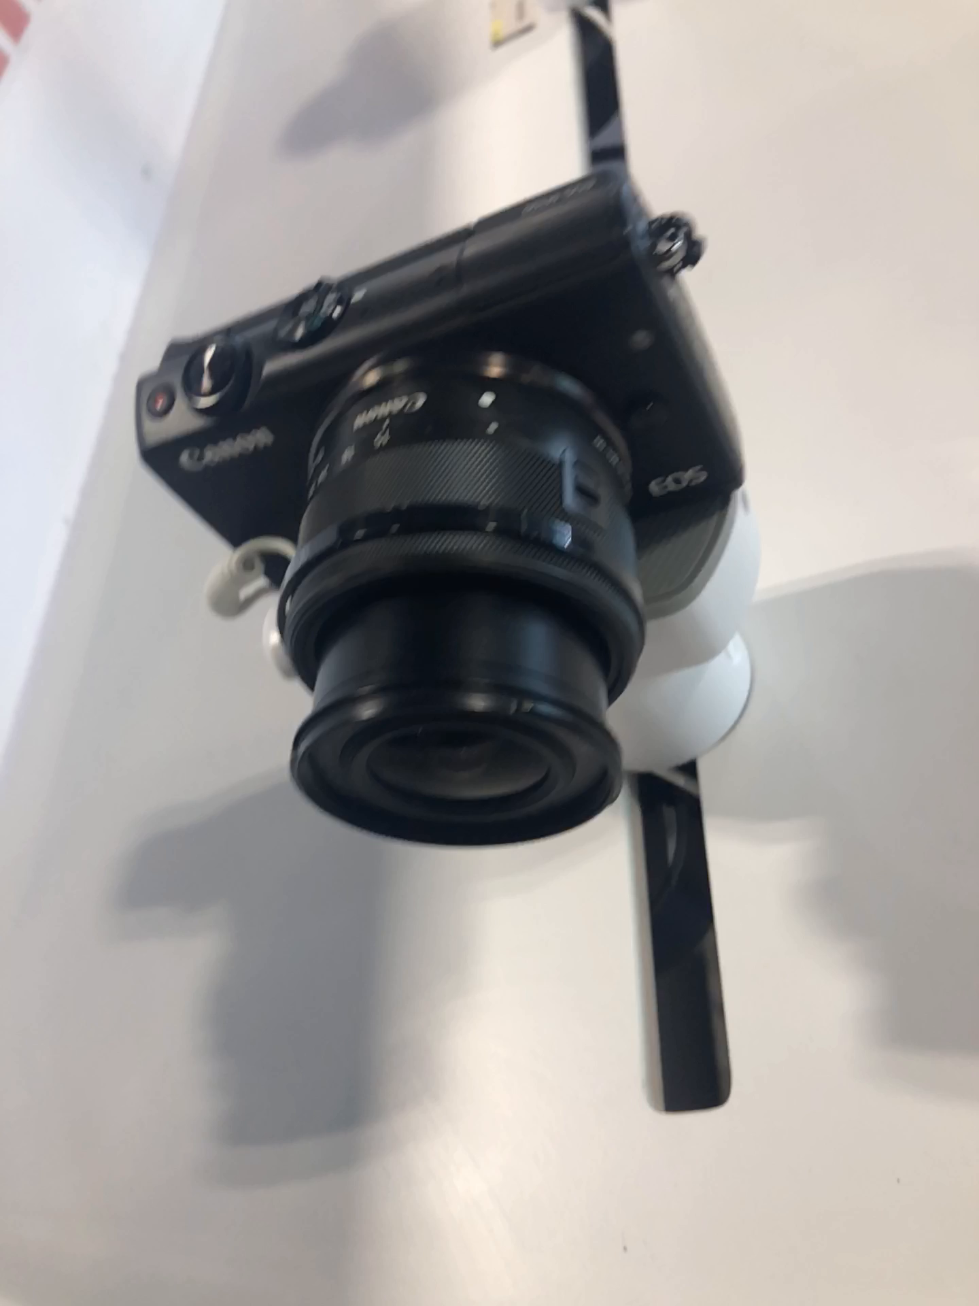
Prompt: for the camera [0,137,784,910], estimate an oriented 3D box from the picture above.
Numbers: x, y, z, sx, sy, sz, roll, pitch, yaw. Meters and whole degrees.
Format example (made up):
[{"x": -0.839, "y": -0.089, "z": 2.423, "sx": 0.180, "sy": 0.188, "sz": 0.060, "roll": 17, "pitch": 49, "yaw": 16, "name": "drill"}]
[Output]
[{"x": -0.015, "y": -0.015, "z": 0.199, "sx": 0.110, "sy": 0.072, "sz": 0.091, "roll": -13, "pitch": 53, "yaw": 24, "name": "camera"}]
